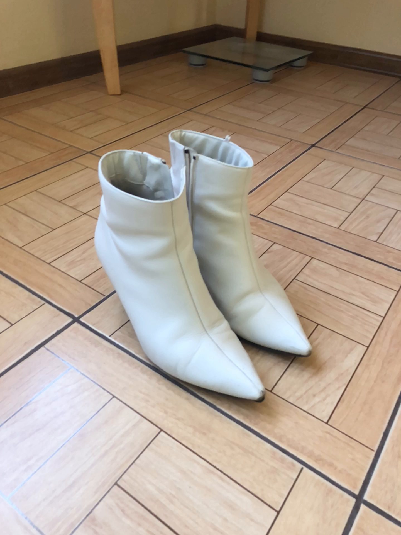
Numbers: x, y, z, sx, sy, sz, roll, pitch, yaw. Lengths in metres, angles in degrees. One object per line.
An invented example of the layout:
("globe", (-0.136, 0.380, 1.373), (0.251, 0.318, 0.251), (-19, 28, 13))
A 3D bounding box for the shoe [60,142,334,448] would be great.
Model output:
("shoe", (-0.023, 0.007, 0.421), (0.100, 0.154, 0.254), (-23, 45, -31))

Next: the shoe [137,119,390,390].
("shoe", (0.038, -0.035, 0.479), (0.100, 0.154, 0.274), (-19, 42, -26))
